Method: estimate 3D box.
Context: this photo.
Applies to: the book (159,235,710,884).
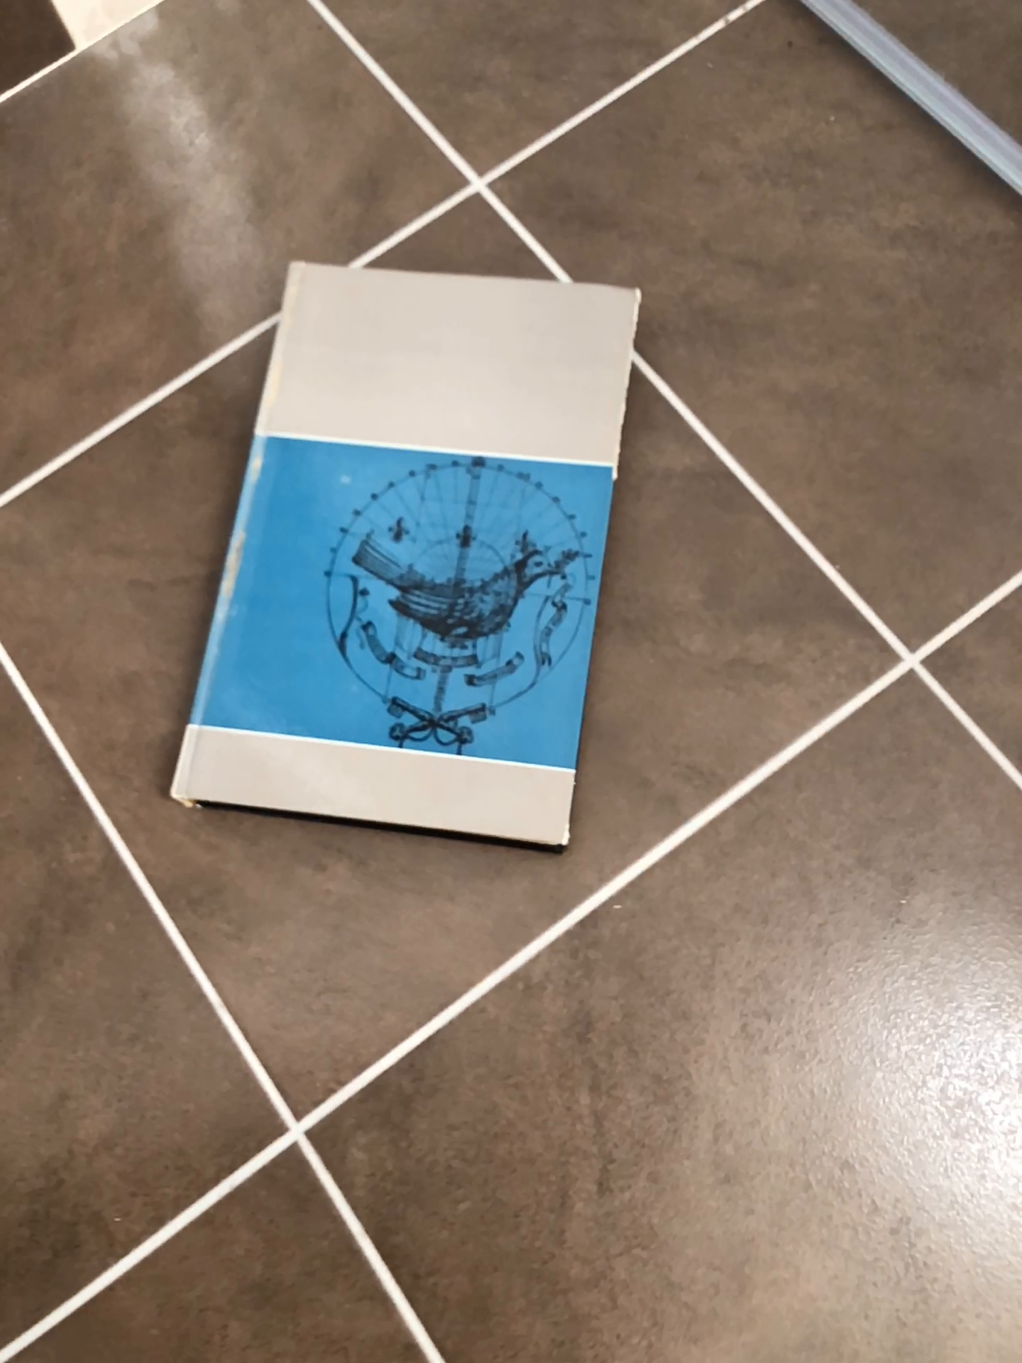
[{"bbox_3d":[-0.027,-0.070,0.550,0.210,0.040,0.301,7,73,7],"label":"book"}]
